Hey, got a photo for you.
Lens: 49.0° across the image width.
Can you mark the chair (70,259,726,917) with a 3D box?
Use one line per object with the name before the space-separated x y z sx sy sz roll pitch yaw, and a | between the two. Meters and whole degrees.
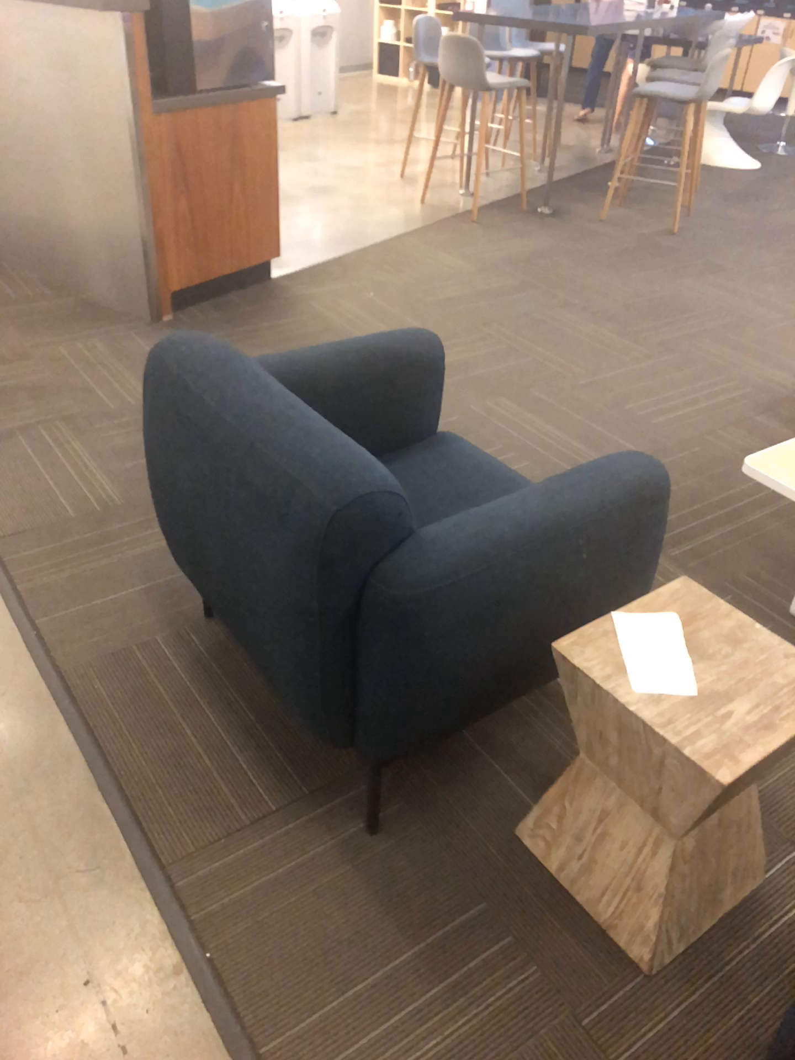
chair | -0.050 0.010 1.843 0.844 0.783 0.924 -20 41 -31
